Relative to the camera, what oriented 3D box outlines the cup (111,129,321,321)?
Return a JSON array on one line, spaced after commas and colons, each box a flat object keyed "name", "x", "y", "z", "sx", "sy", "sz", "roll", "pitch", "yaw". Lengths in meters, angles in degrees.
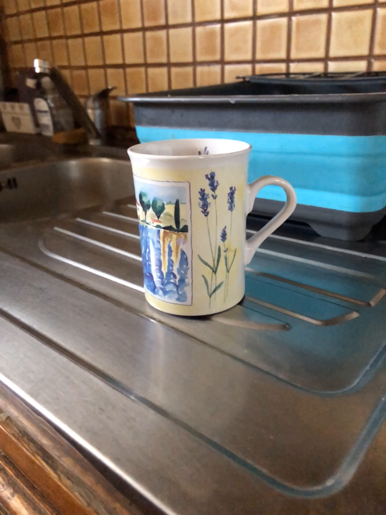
[{"name": "cup", "x": 0.013, "y": -0.024, "z": 0.276, "sx": 0.110, "sy": 0.099, "sz": 0.070, "roll": -3, "pitch": 24, "yaw": -2}]
